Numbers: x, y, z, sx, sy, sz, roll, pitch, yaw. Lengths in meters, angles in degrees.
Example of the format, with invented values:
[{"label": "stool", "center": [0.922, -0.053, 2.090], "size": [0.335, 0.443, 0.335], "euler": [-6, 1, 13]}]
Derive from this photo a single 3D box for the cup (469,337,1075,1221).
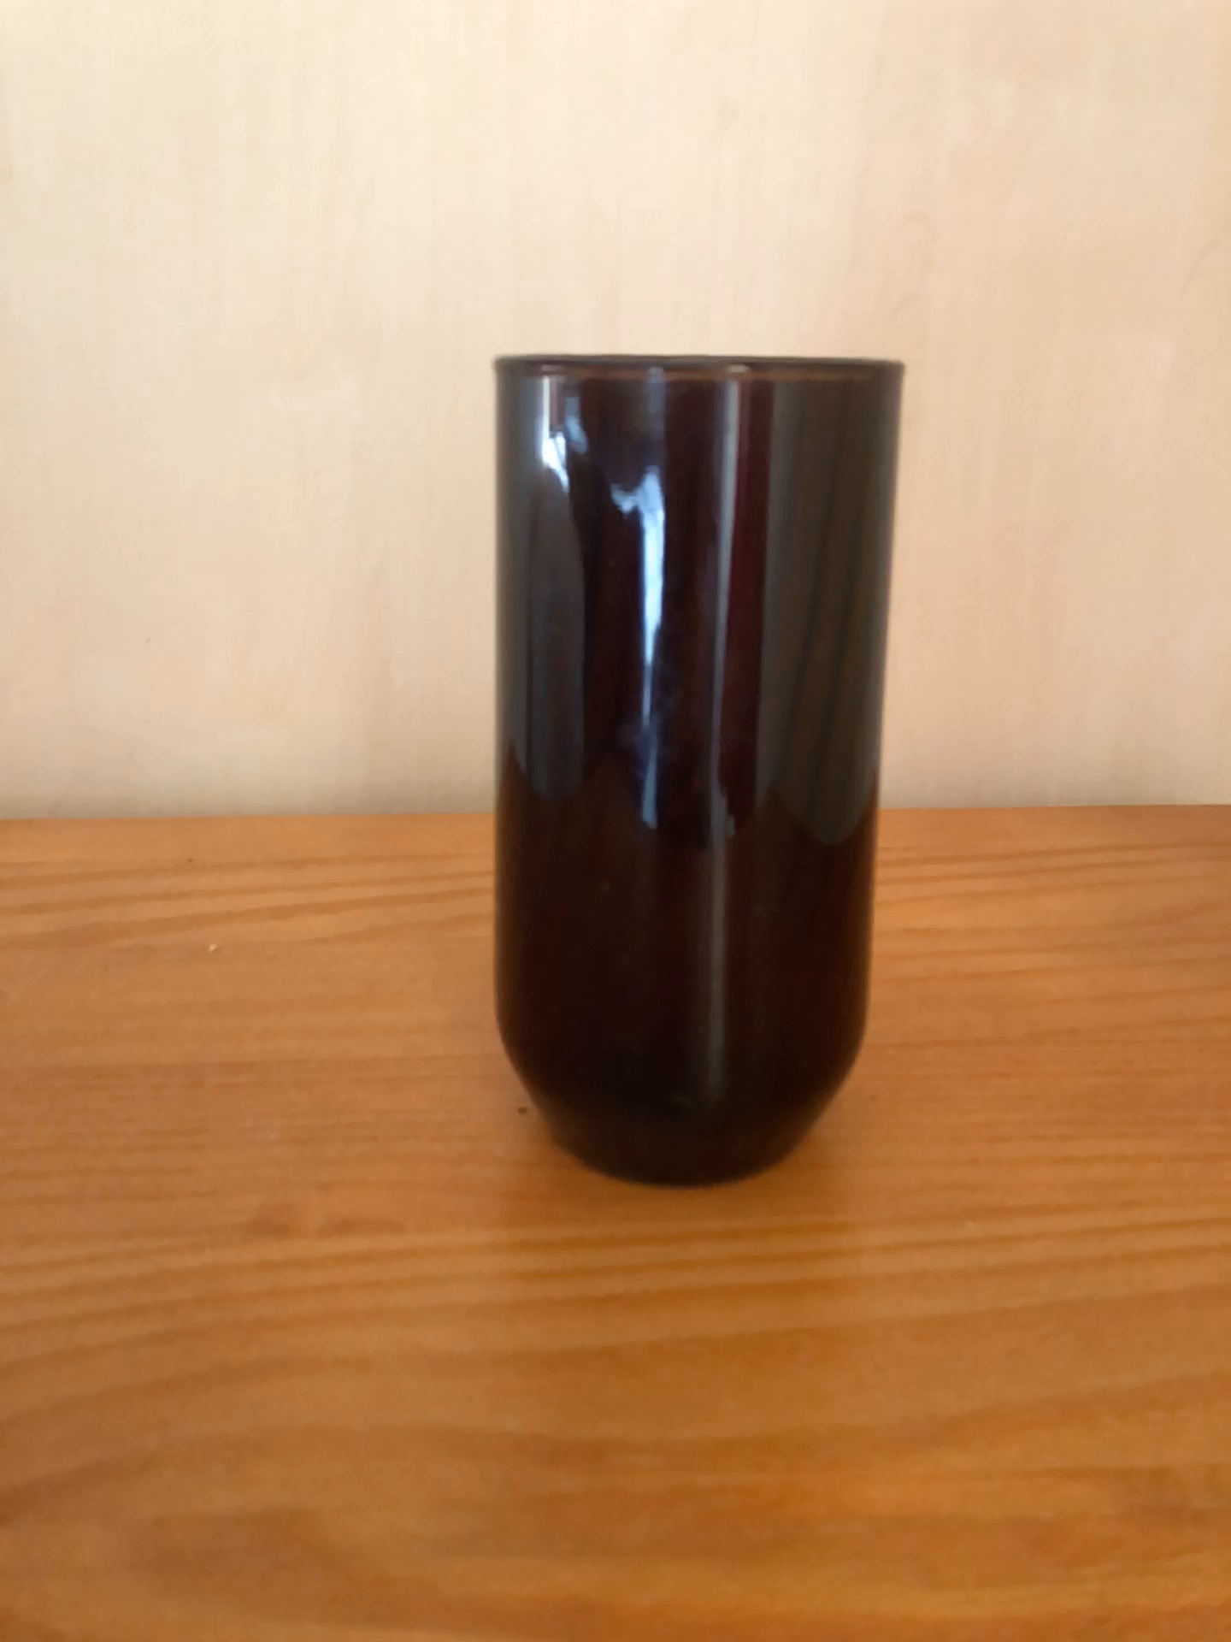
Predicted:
[{"label": "cup", "center": [0.017, -0.012, 0.204], "size": [0.061, 0.112, 0.061], "euler": [1, 19, 0]}]
